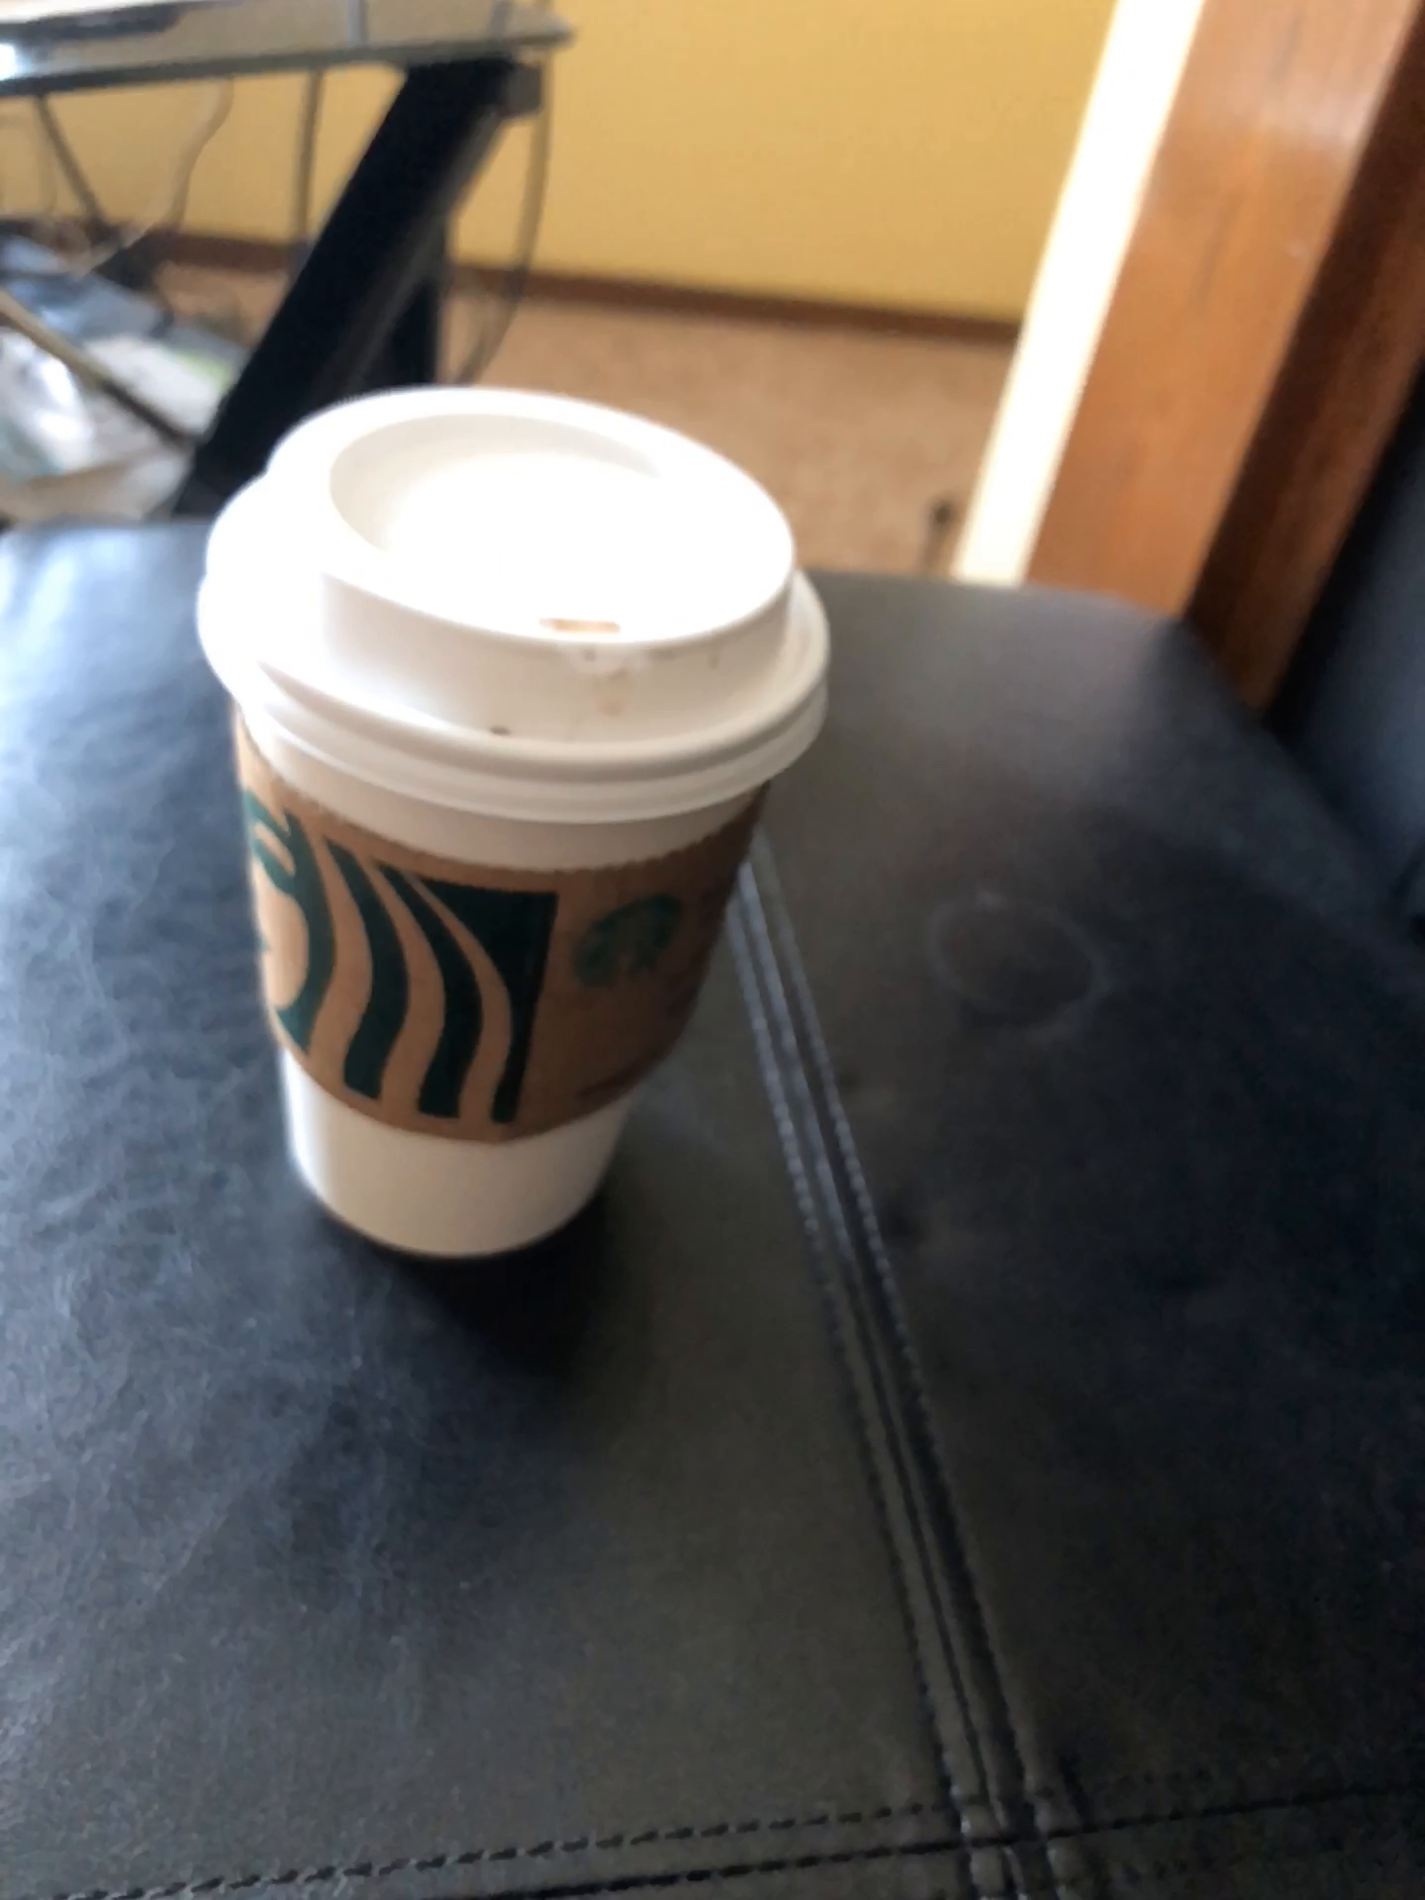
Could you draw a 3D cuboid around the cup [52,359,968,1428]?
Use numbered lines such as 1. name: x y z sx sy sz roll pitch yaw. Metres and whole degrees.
1. cup: -0.038 -0.012 0.250 0.090 0.120 0.090 7 41 -6
